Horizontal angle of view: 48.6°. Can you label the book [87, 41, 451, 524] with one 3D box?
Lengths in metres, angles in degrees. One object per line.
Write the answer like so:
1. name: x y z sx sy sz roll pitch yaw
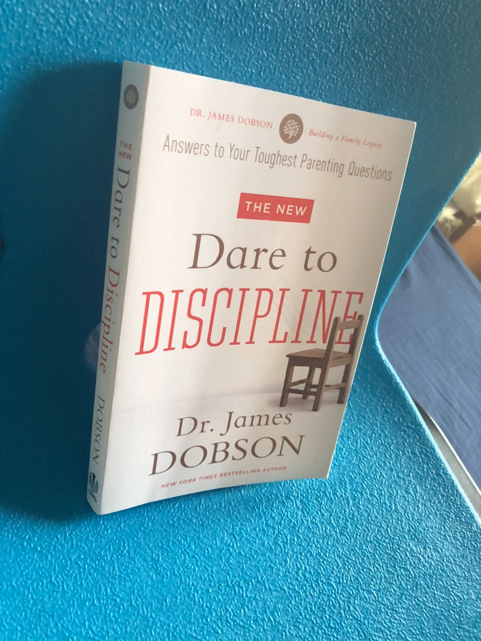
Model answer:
1. book: 0.010 -0.009 0.264 0.150 0.199 0.040 -1 19 -27
